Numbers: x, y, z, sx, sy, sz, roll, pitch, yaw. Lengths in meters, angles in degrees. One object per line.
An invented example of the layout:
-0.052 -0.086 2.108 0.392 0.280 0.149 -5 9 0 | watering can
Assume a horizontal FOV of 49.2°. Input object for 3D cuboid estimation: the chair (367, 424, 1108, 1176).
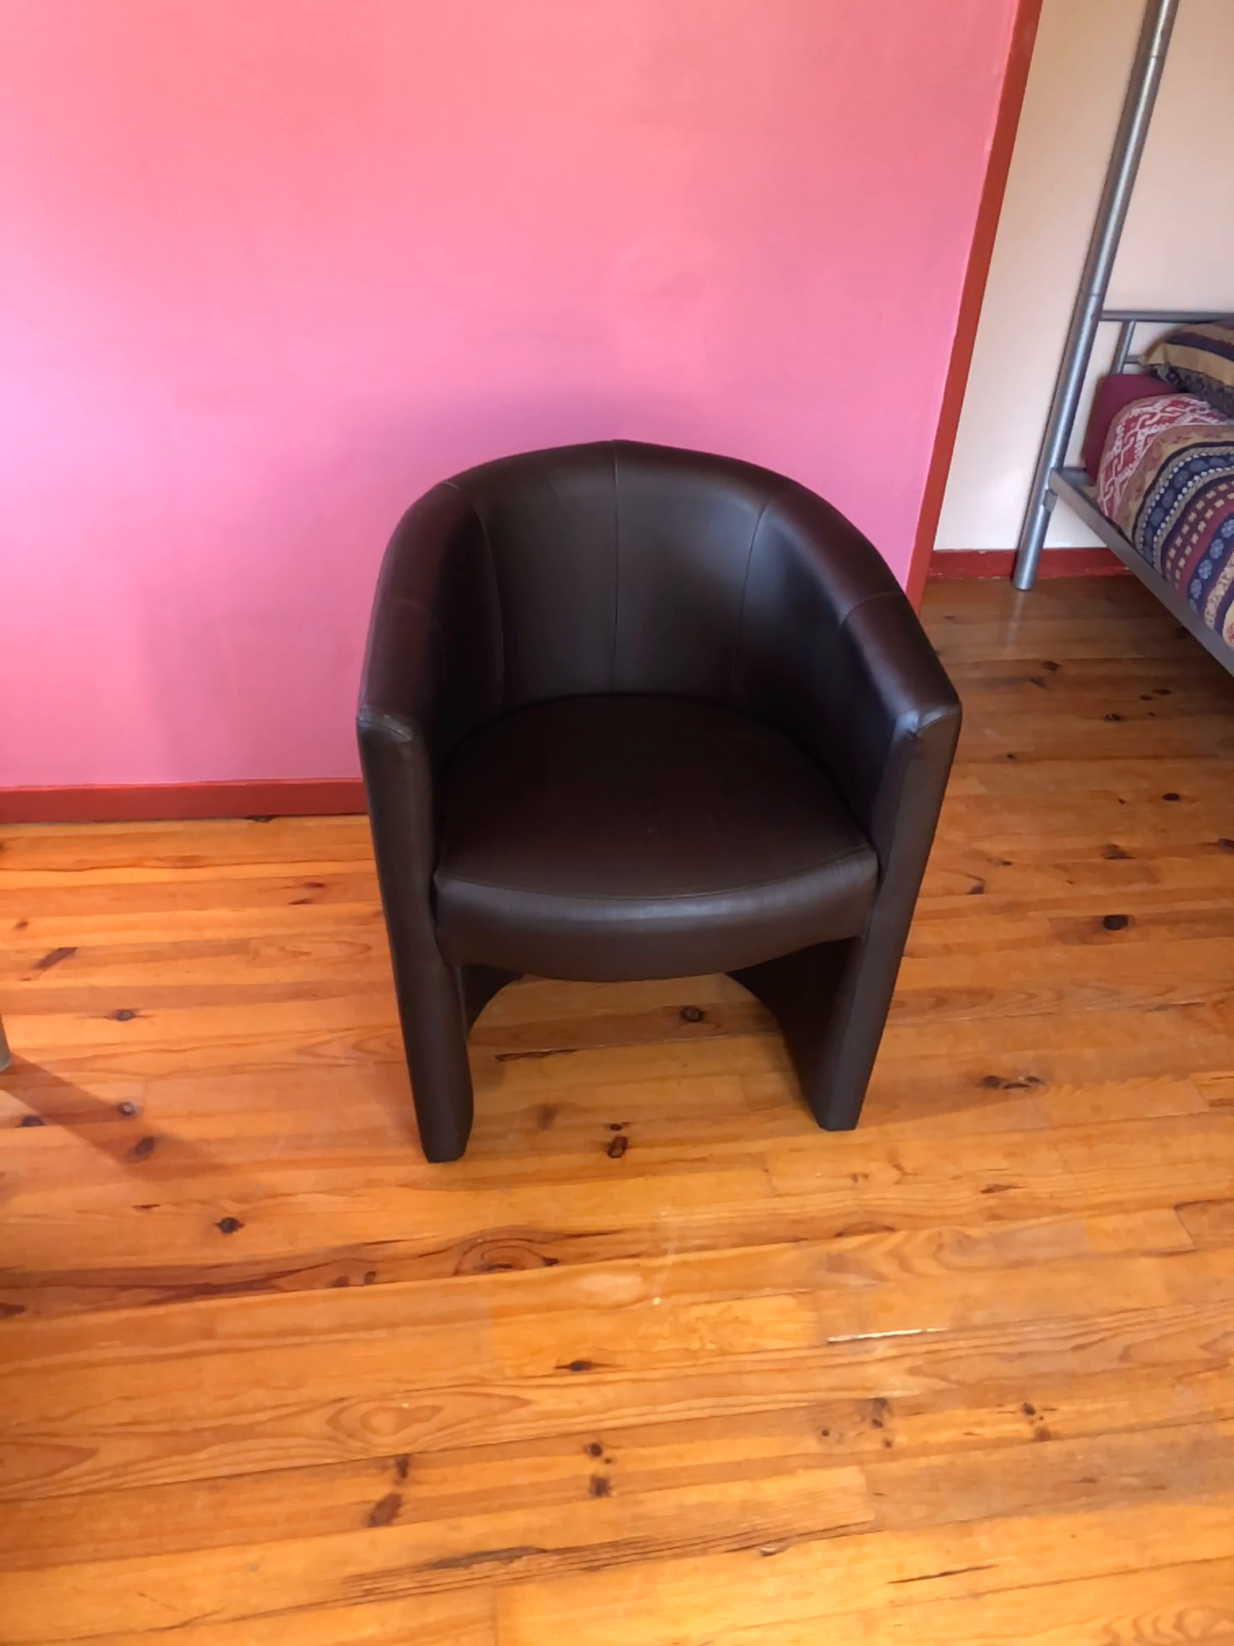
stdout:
0.061 -0.055 1.612 0.671 0.646 0.593 -2 36 -9 | chair
